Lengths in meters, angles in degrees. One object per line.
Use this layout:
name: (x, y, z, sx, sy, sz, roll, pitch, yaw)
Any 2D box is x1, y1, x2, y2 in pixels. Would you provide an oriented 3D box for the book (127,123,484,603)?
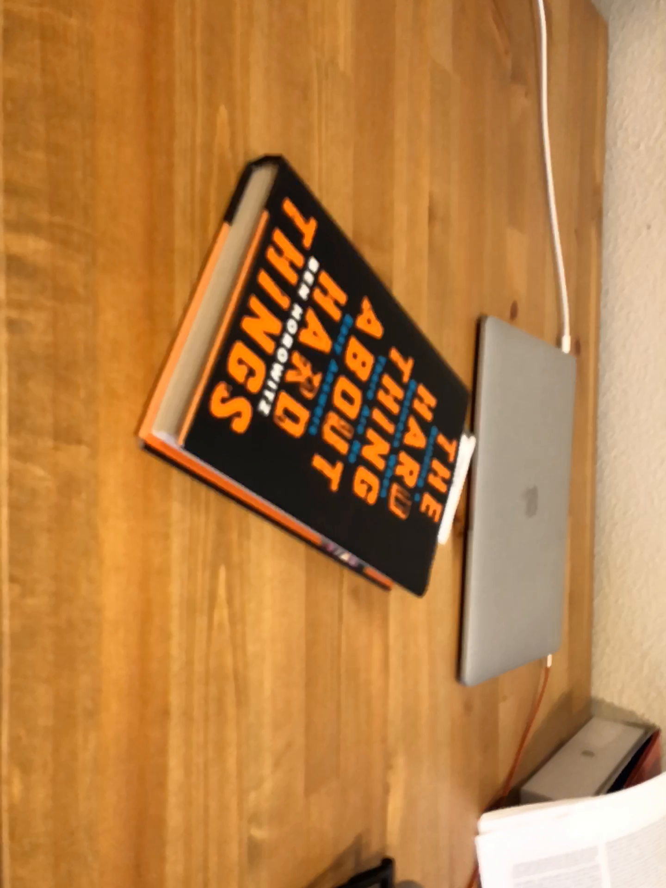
book: (0.010, -0.024, 0.388, 0.222, 0.030, 0.160, 39, 61, -48)
